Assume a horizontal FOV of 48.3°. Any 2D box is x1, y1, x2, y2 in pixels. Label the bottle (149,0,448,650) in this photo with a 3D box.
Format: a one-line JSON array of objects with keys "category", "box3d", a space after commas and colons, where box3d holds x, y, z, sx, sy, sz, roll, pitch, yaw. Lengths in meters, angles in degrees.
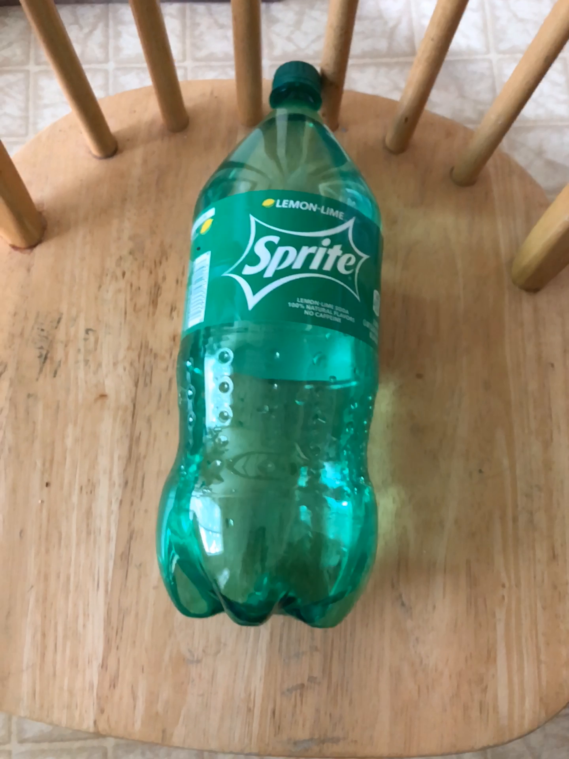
[{"category": "bottle", "box3d": [0.003, -0.035, 0.319, 0.110, 0.110, 0.300, 6, 75, -11]}]
